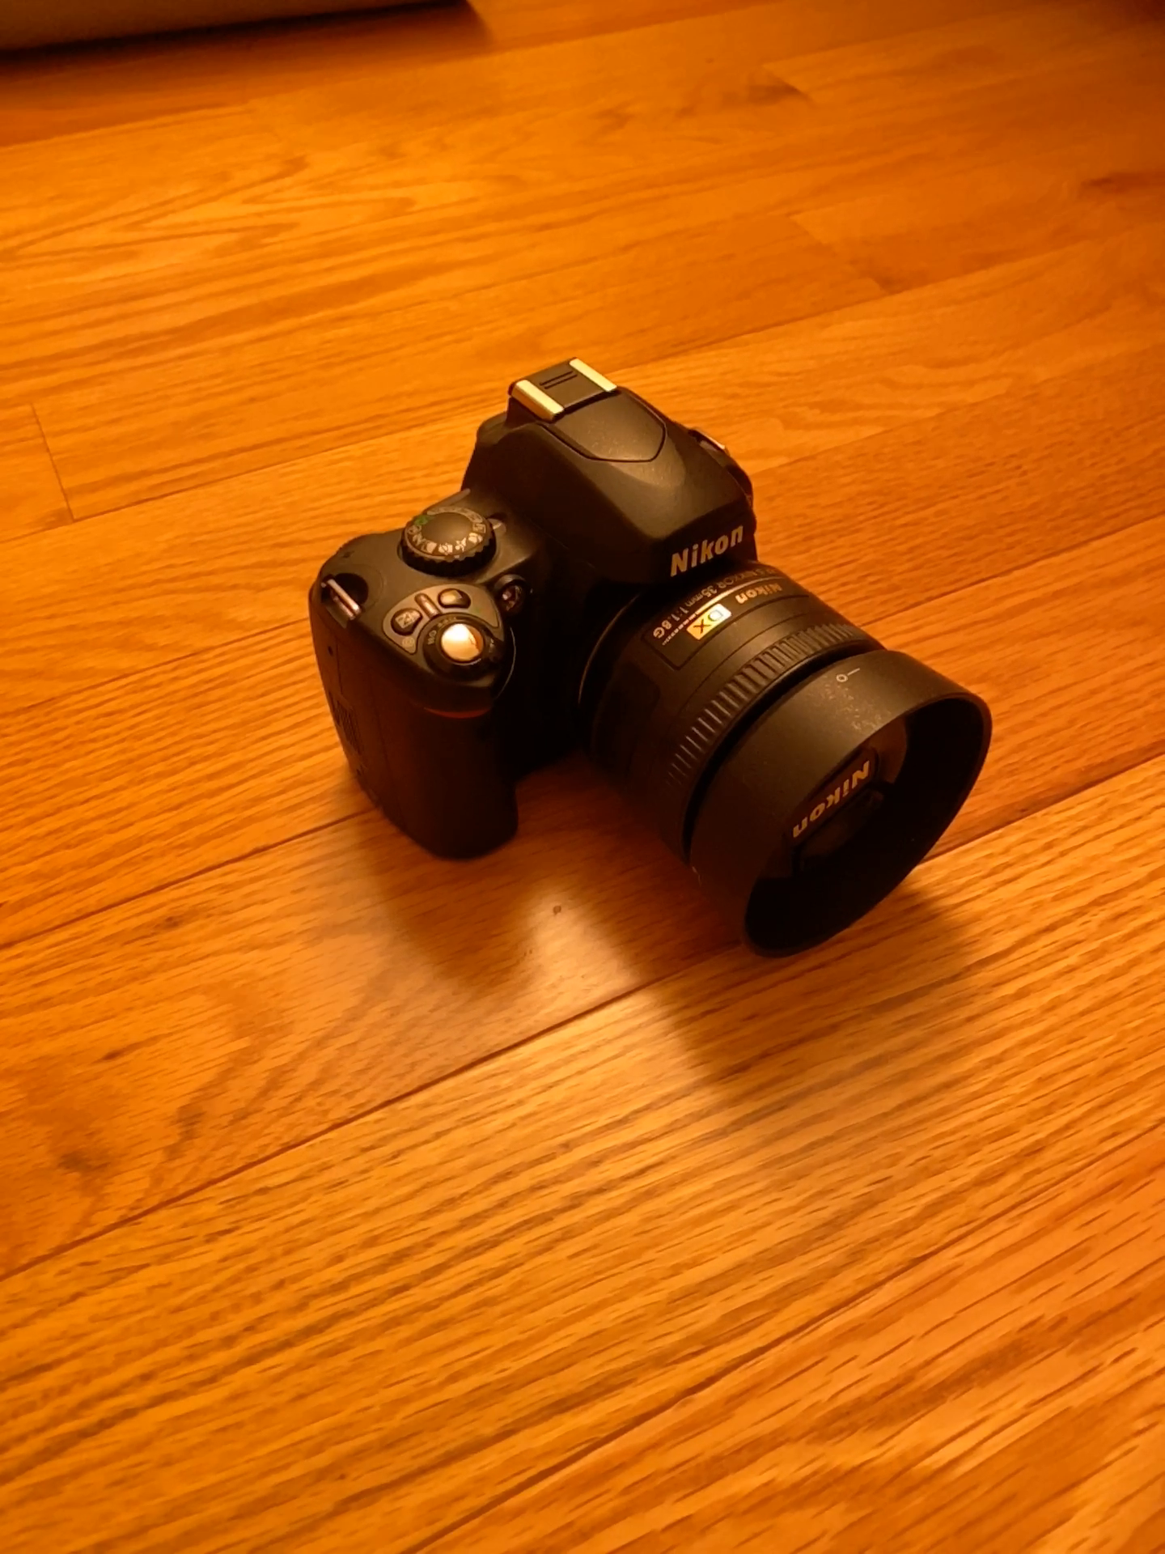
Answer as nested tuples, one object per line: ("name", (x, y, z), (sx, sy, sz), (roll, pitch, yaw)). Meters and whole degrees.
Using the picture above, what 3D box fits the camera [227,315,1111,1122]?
("camera", (0.014, -0.025, 0.287), (0.130, 0.080, 0.140), (-29, 54, -22))
